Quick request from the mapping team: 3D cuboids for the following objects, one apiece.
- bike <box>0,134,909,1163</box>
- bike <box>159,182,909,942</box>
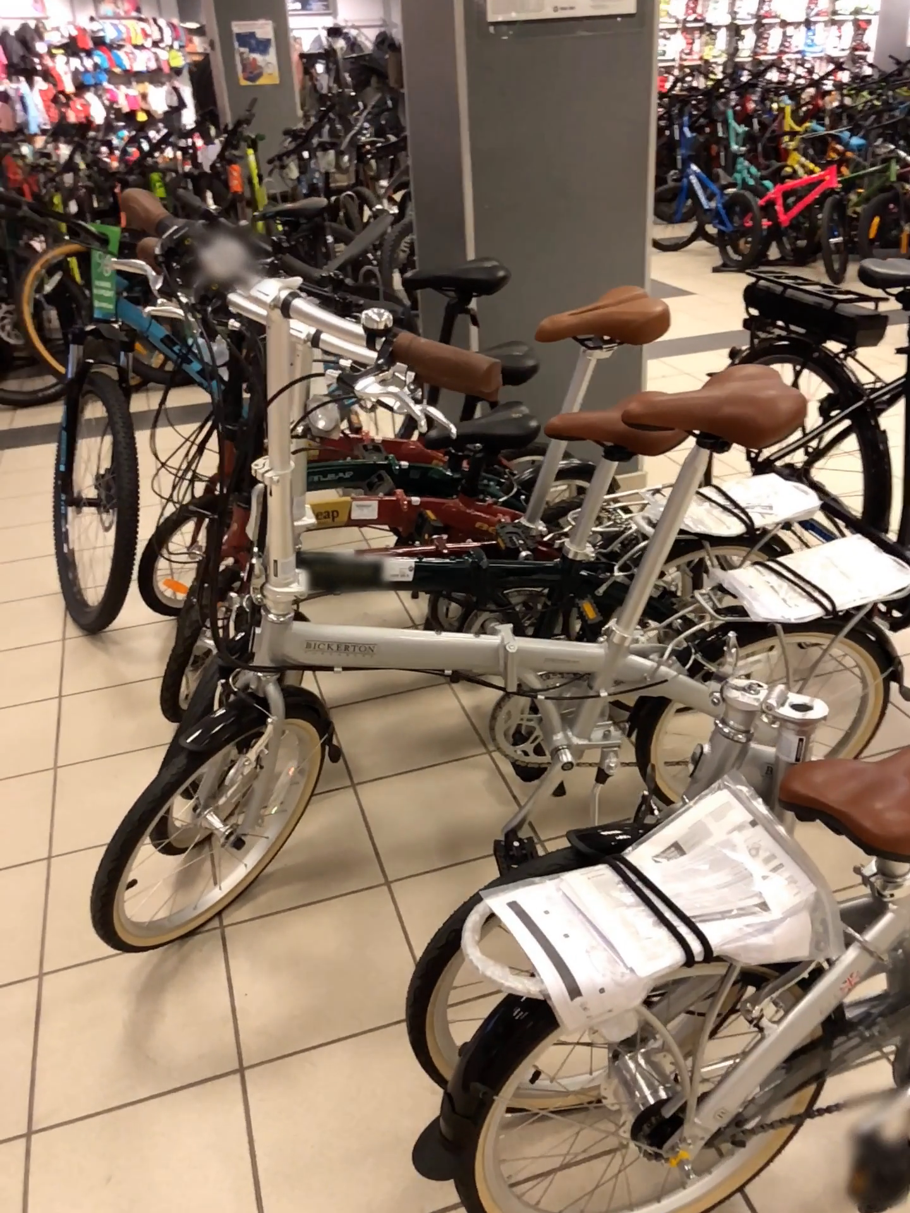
[{"bbox_3d":[0.125,-0.013,1.434,1.359,1.153,0.555,-9,28,-14],"label":"bike"},{"bbox_3d":[0.187,-0.132,1.810,1.140,1.037,0.559,-13,28,-16],"label":"bike"}]
